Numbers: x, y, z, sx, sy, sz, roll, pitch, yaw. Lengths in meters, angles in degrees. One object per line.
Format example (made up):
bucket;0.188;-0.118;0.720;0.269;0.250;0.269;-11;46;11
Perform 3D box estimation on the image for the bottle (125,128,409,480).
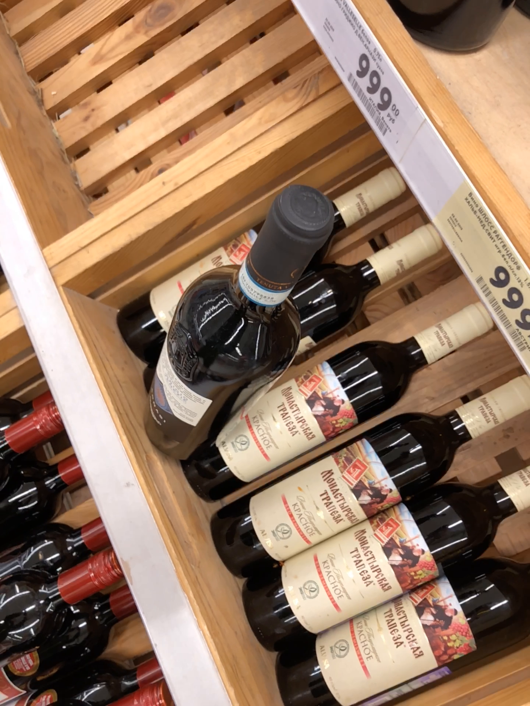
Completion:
bottle;-0.031;-0.003;0.416;0.080;0.319;0.090;-18;72;-26
